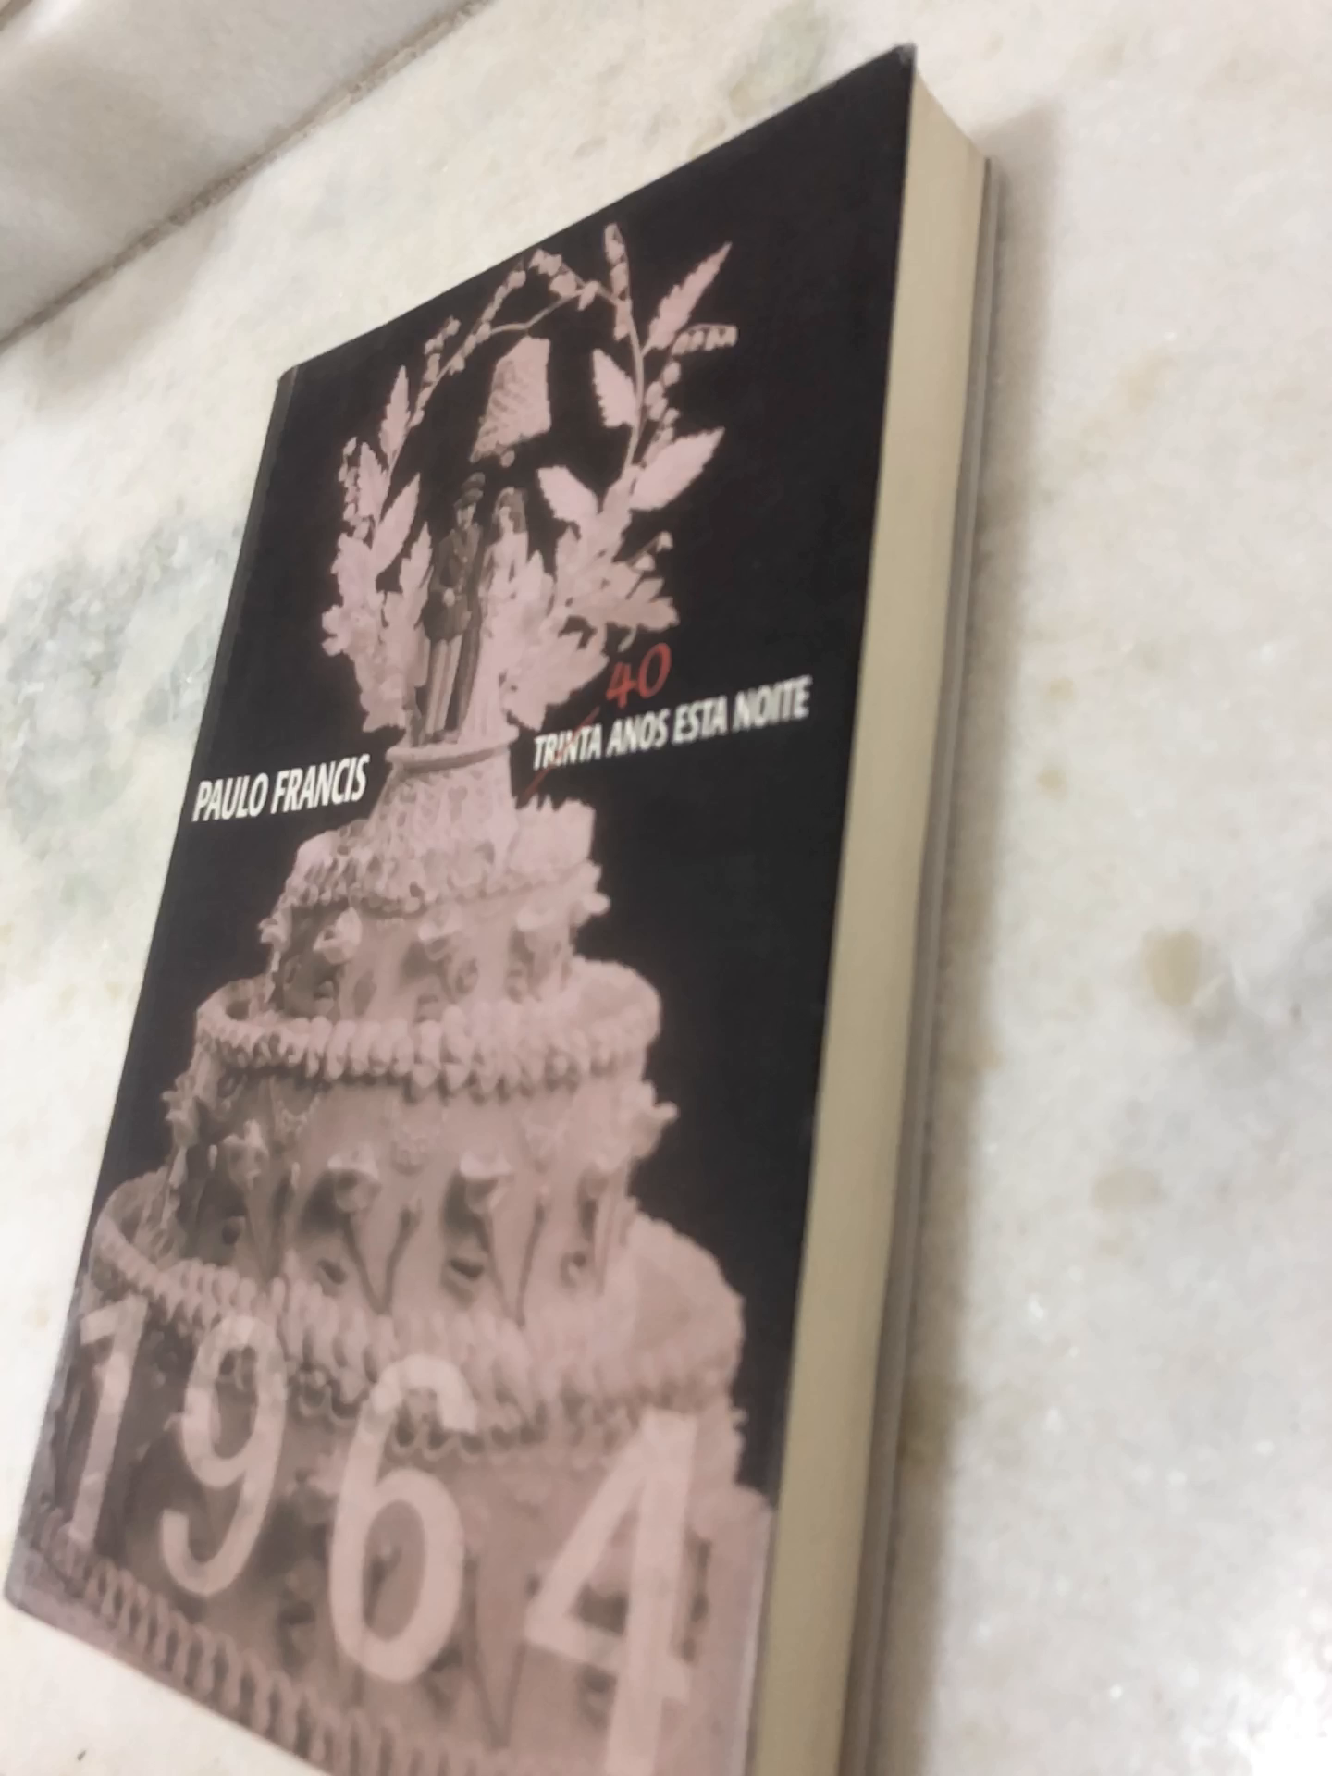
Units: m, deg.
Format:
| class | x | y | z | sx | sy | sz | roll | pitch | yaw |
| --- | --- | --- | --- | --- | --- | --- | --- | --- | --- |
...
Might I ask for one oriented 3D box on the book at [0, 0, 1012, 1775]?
| class | x | y | z | sx | sy | sz | roll | pitch | yaw |
| --- | --- | --- | --- | --- | --- | --- | --- | --- | --- |
| book | -0.029 | 0.003 | 0.196 | 0.141 | 0.020 | 0.203 | -6 | 71 | 42 |
